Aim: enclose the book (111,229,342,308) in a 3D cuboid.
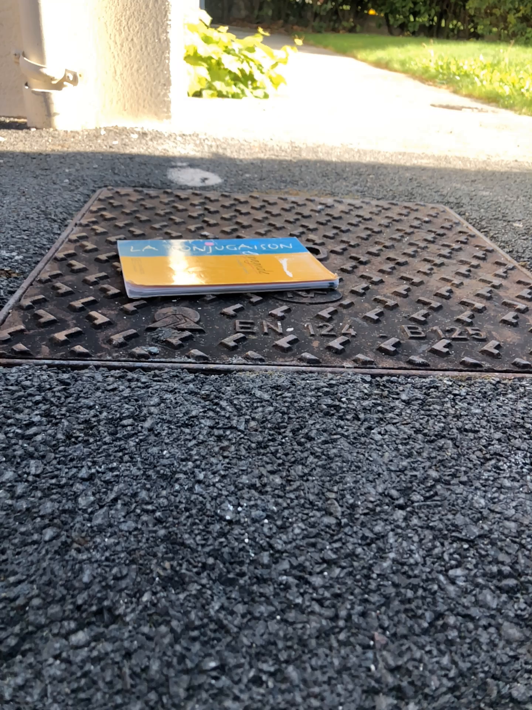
[{"bbox_3d":[-0.044,-0.086,0.546,0.188,0.017,0.141,-5,30,-16],"label":"book"}]
